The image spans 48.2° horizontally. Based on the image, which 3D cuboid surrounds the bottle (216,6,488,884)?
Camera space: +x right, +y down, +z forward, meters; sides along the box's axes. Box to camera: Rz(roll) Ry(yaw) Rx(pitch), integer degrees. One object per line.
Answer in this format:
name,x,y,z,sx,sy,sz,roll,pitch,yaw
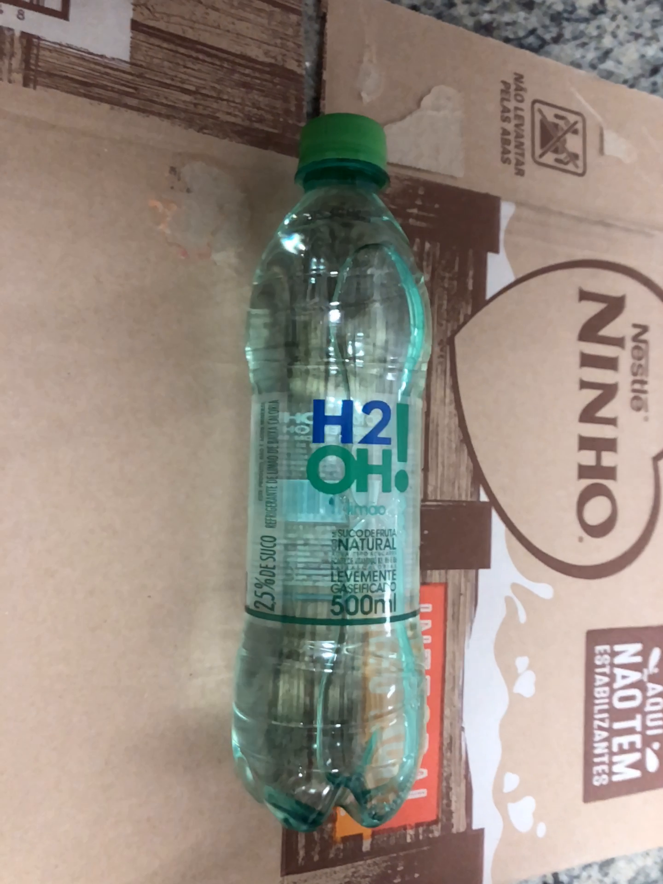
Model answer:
bottle,0.008,-0.001,0.248,0.070,0.050,0.250,4,85,-28
